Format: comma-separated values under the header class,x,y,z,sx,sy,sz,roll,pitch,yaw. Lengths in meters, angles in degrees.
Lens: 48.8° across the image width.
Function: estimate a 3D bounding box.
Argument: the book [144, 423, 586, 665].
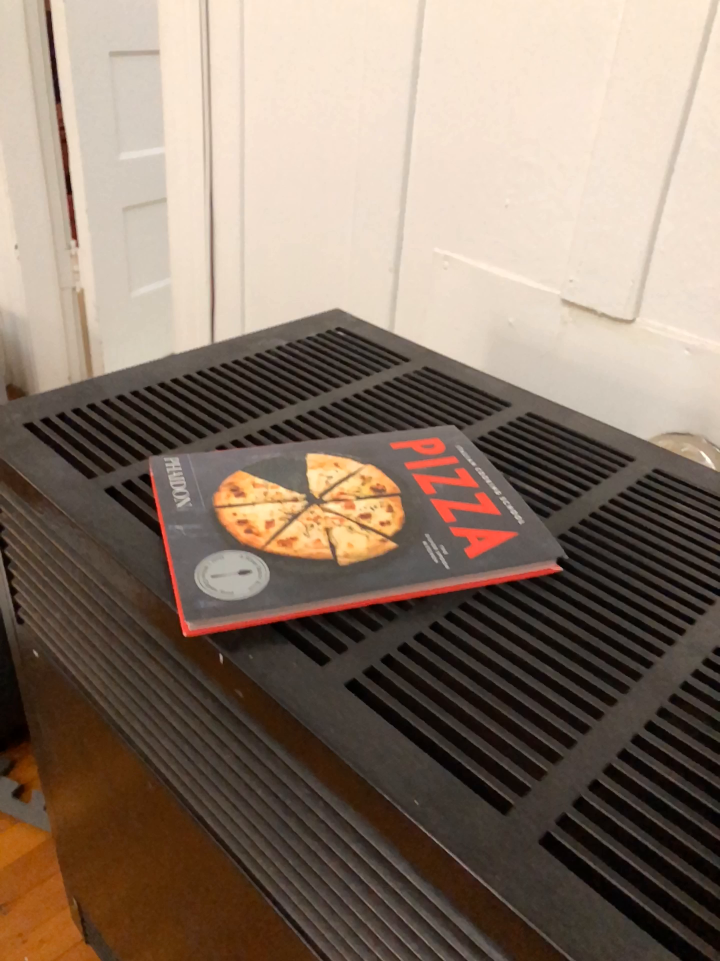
class,x,y,z,sx,sy,sz,roll,pitch,yaw
book,-0.008,0.024,0.499,0.230,0.020,0.181,-6,33,-18
